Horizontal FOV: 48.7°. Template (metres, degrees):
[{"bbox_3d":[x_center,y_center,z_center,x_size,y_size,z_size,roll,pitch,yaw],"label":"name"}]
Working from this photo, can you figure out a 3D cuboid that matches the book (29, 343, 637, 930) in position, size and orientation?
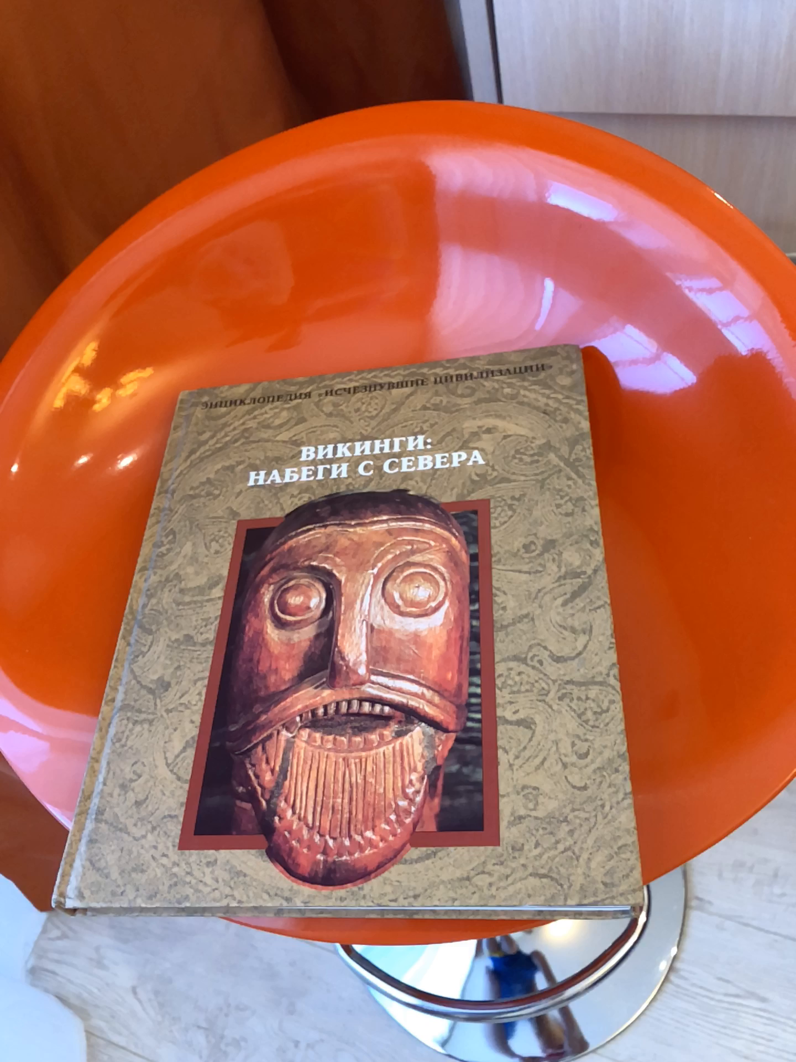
[{"bbox_3d":[-0.020,0.029,0.384,0.215,0.022,0.261,-4,54,11],"label":"book"}]
